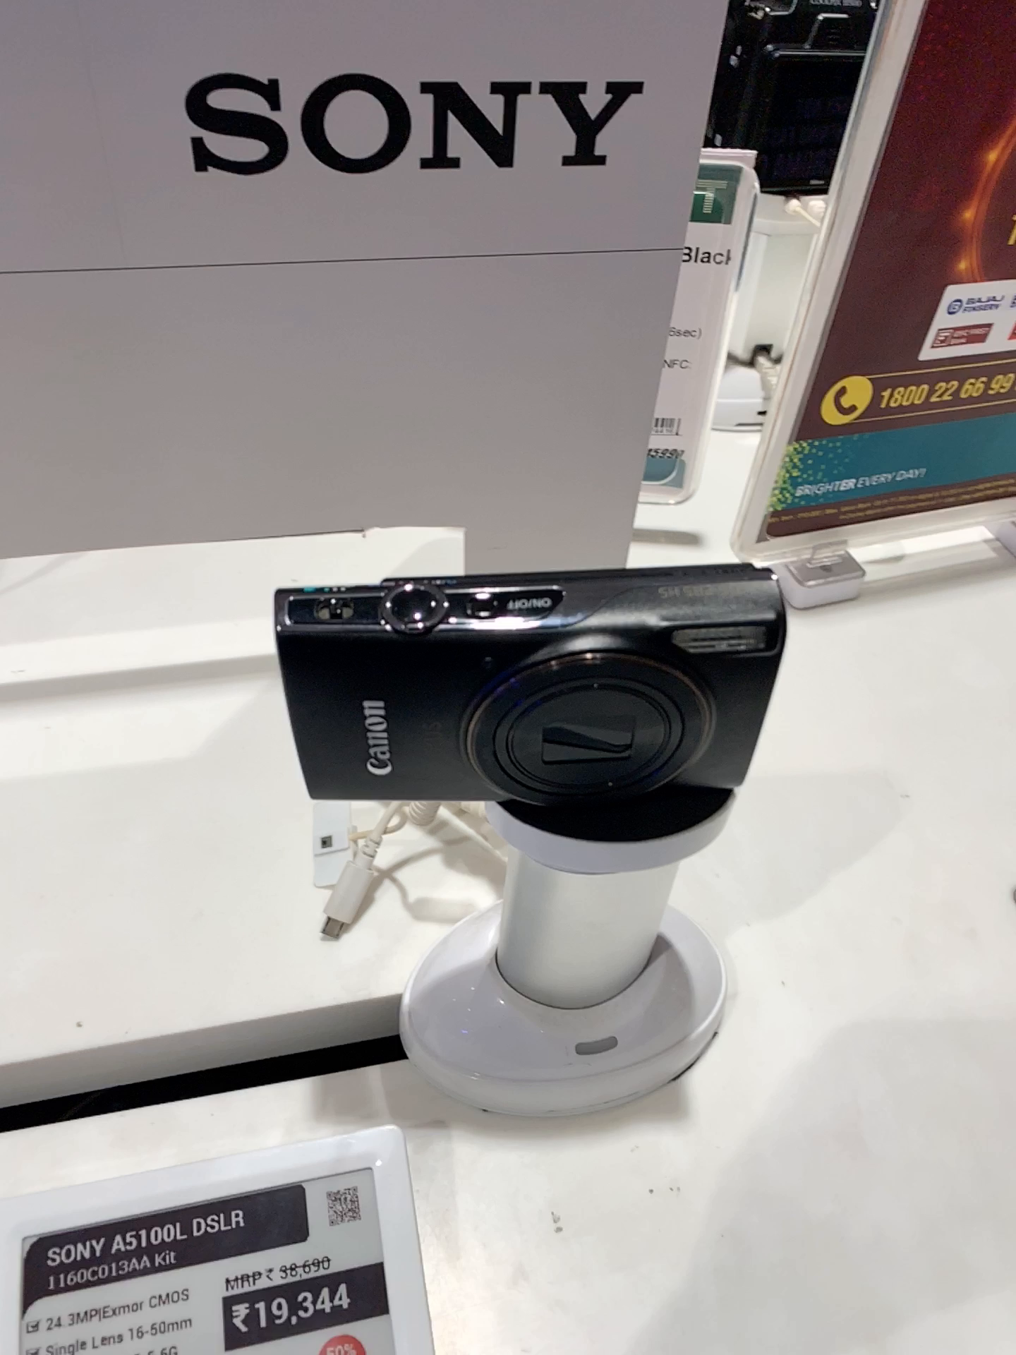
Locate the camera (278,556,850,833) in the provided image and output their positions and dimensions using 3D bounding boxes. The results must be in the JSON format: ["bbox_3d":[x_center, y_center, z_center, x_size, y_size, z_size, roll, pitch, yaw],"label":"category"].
[{"bbox_3d":[0.008,0.004,0.204,0.100,0.050,0.020,-3,47,-9],"label":"camera"}]
